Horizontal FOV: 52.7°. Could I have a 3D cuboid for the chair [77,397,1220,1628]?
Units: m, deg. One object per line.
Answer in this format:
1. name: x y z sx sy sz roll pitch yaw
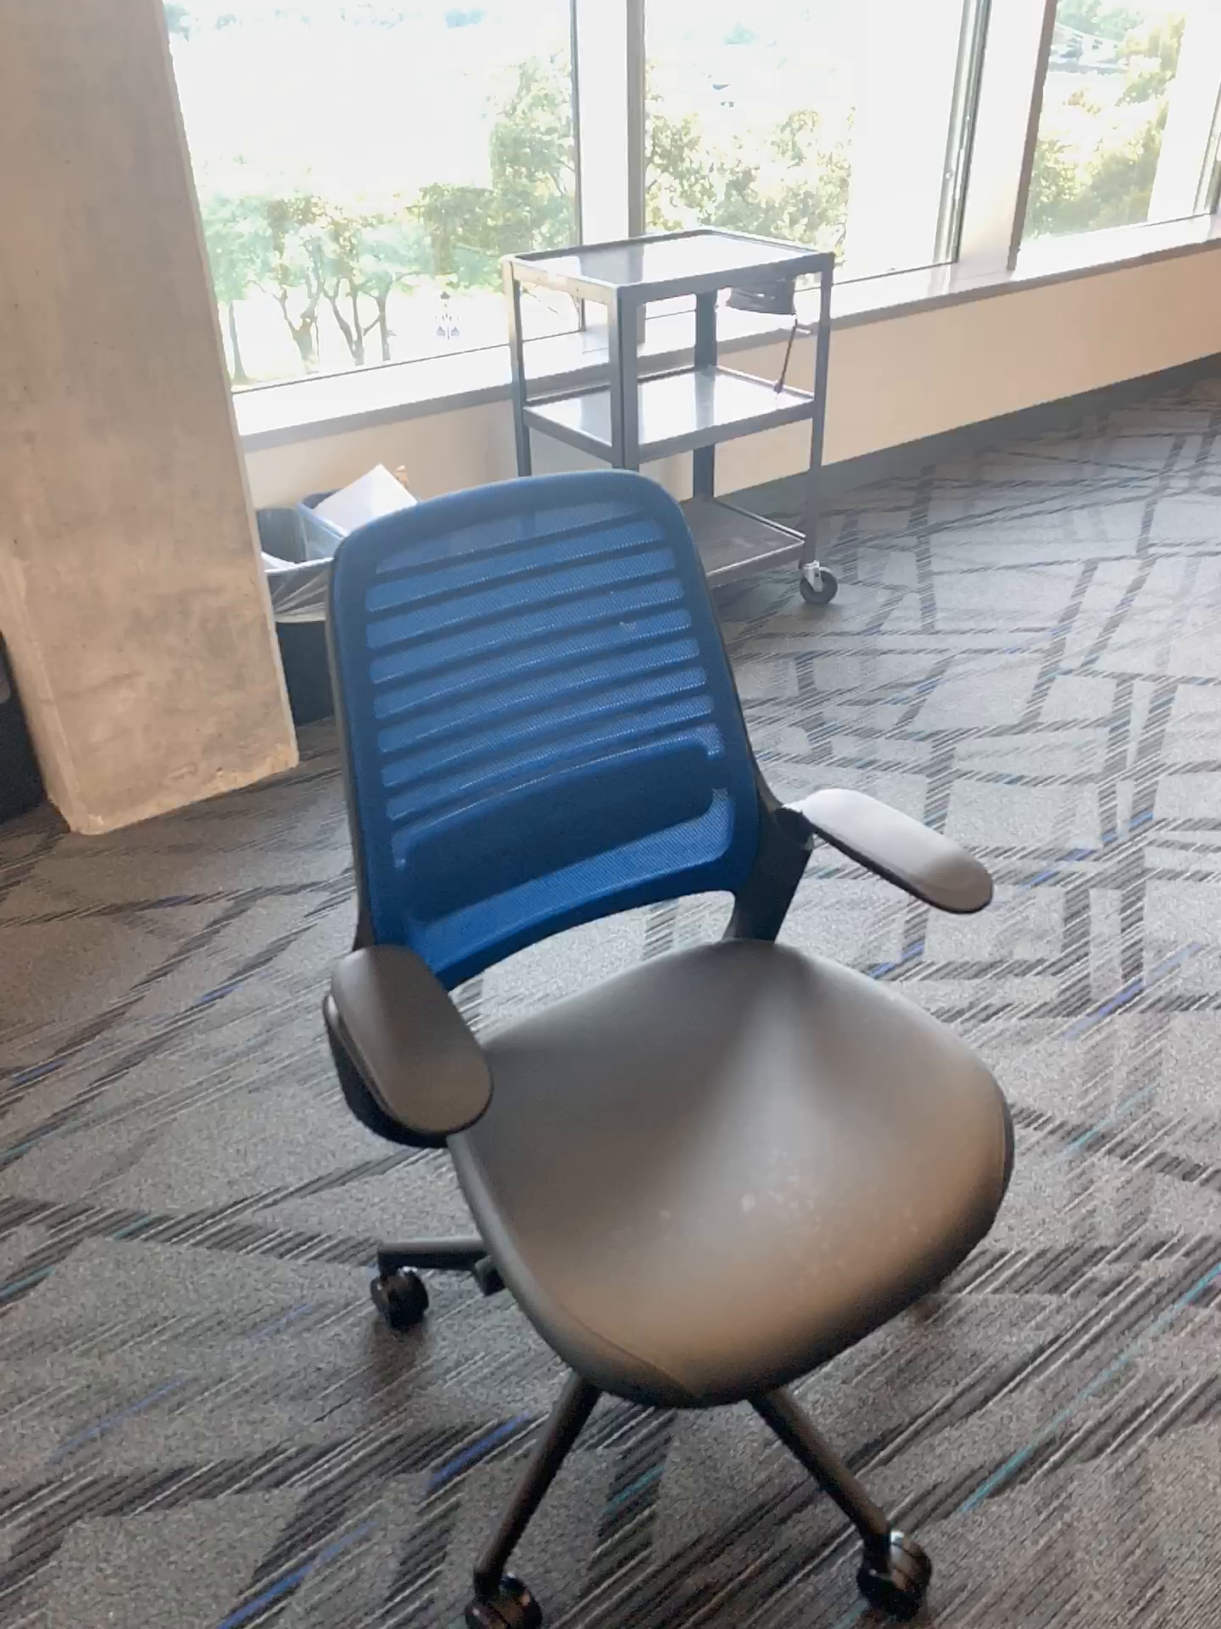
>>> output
1. chair: 0.085 0.202 1.123 0.702 0.882 0.684 -23 39 -30
